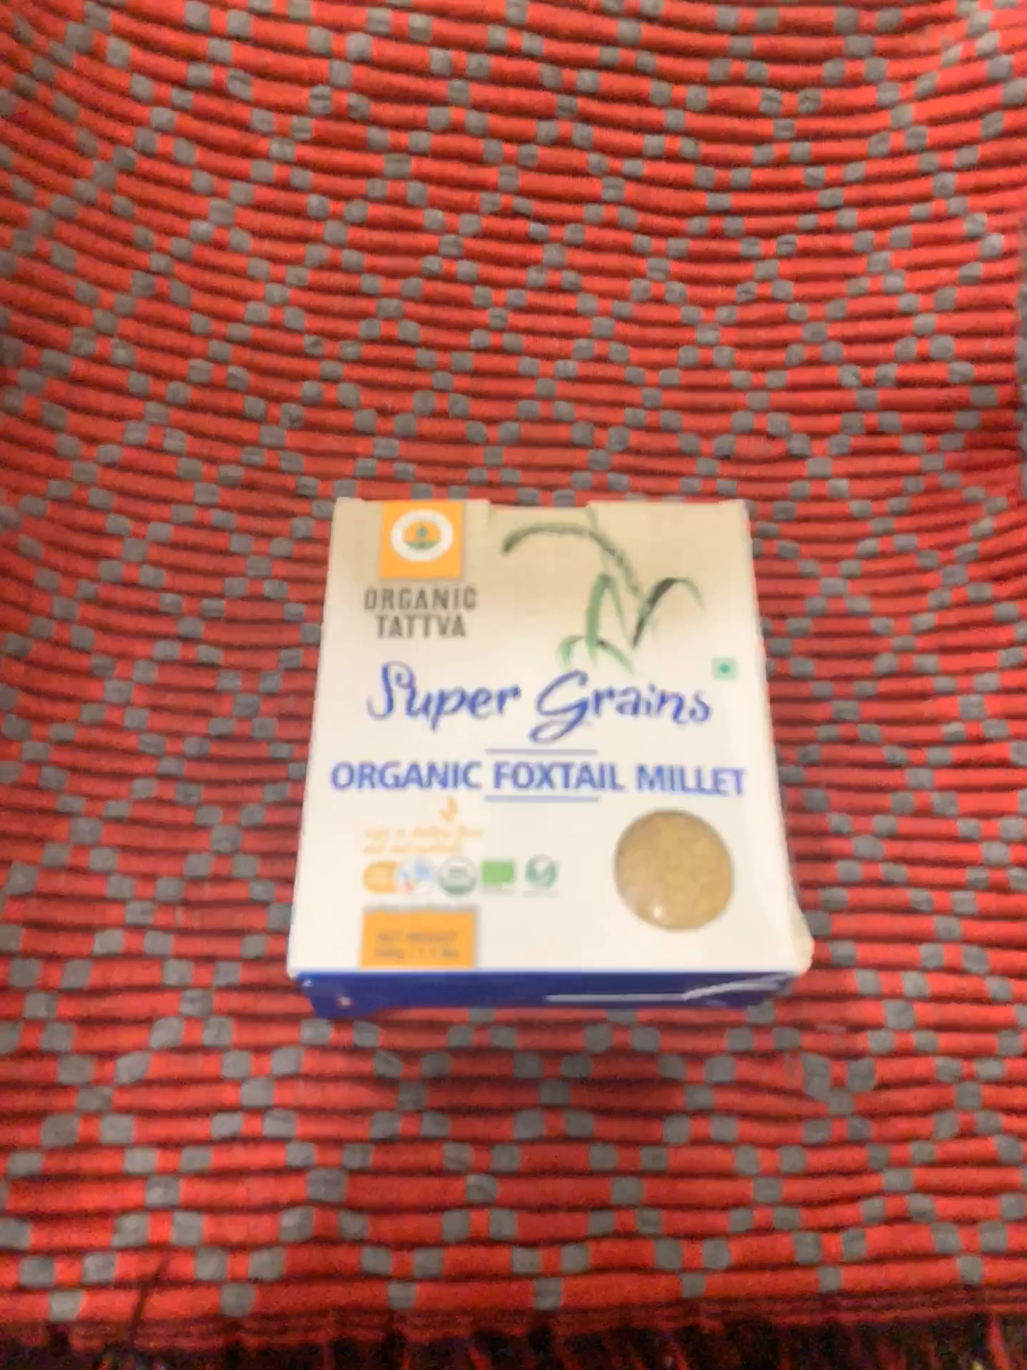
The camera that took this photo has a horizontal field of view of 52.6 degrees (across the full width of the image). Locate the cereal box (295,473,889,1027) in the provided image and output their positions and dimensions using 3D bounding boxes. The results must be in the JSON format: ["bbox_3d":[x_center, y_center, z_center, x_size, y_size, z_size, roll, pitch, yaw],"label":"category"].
[{"bbox_3d":[0.018,0.017,0.305,0.140,0.060,0.150,0,63,-1],"label":"cereal box"}]
